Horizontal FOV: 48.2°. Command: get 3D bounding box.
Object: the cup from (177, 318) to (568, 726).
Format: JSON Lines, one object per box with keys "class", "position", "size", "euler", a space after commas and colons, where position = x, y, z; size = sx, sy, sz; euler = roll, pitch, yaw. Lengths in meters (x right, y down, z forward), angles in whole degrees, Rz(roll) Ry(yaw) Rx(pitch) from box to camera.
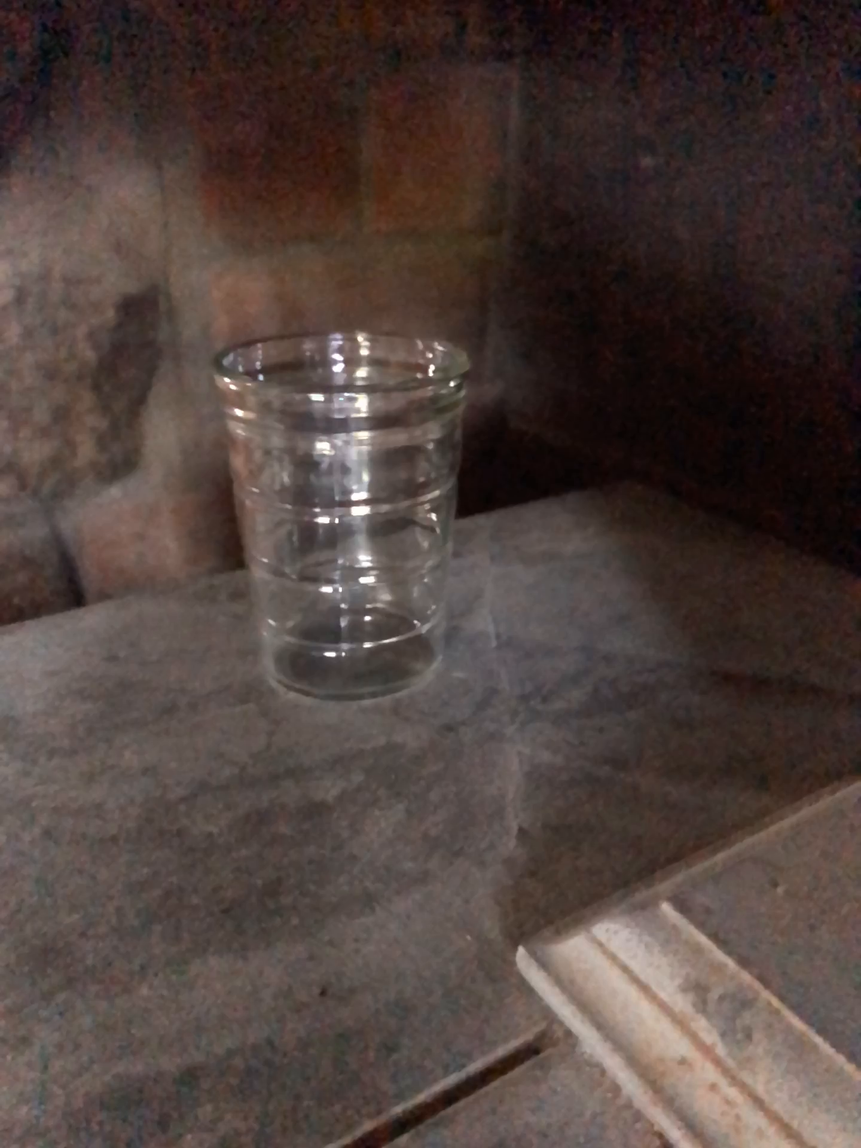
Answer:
{"class": "cup", "position": [-0.012, -0.020, 0.258], "size": [0.070, 0.080, 0.070], "euler": [-1, 24, 0]}
